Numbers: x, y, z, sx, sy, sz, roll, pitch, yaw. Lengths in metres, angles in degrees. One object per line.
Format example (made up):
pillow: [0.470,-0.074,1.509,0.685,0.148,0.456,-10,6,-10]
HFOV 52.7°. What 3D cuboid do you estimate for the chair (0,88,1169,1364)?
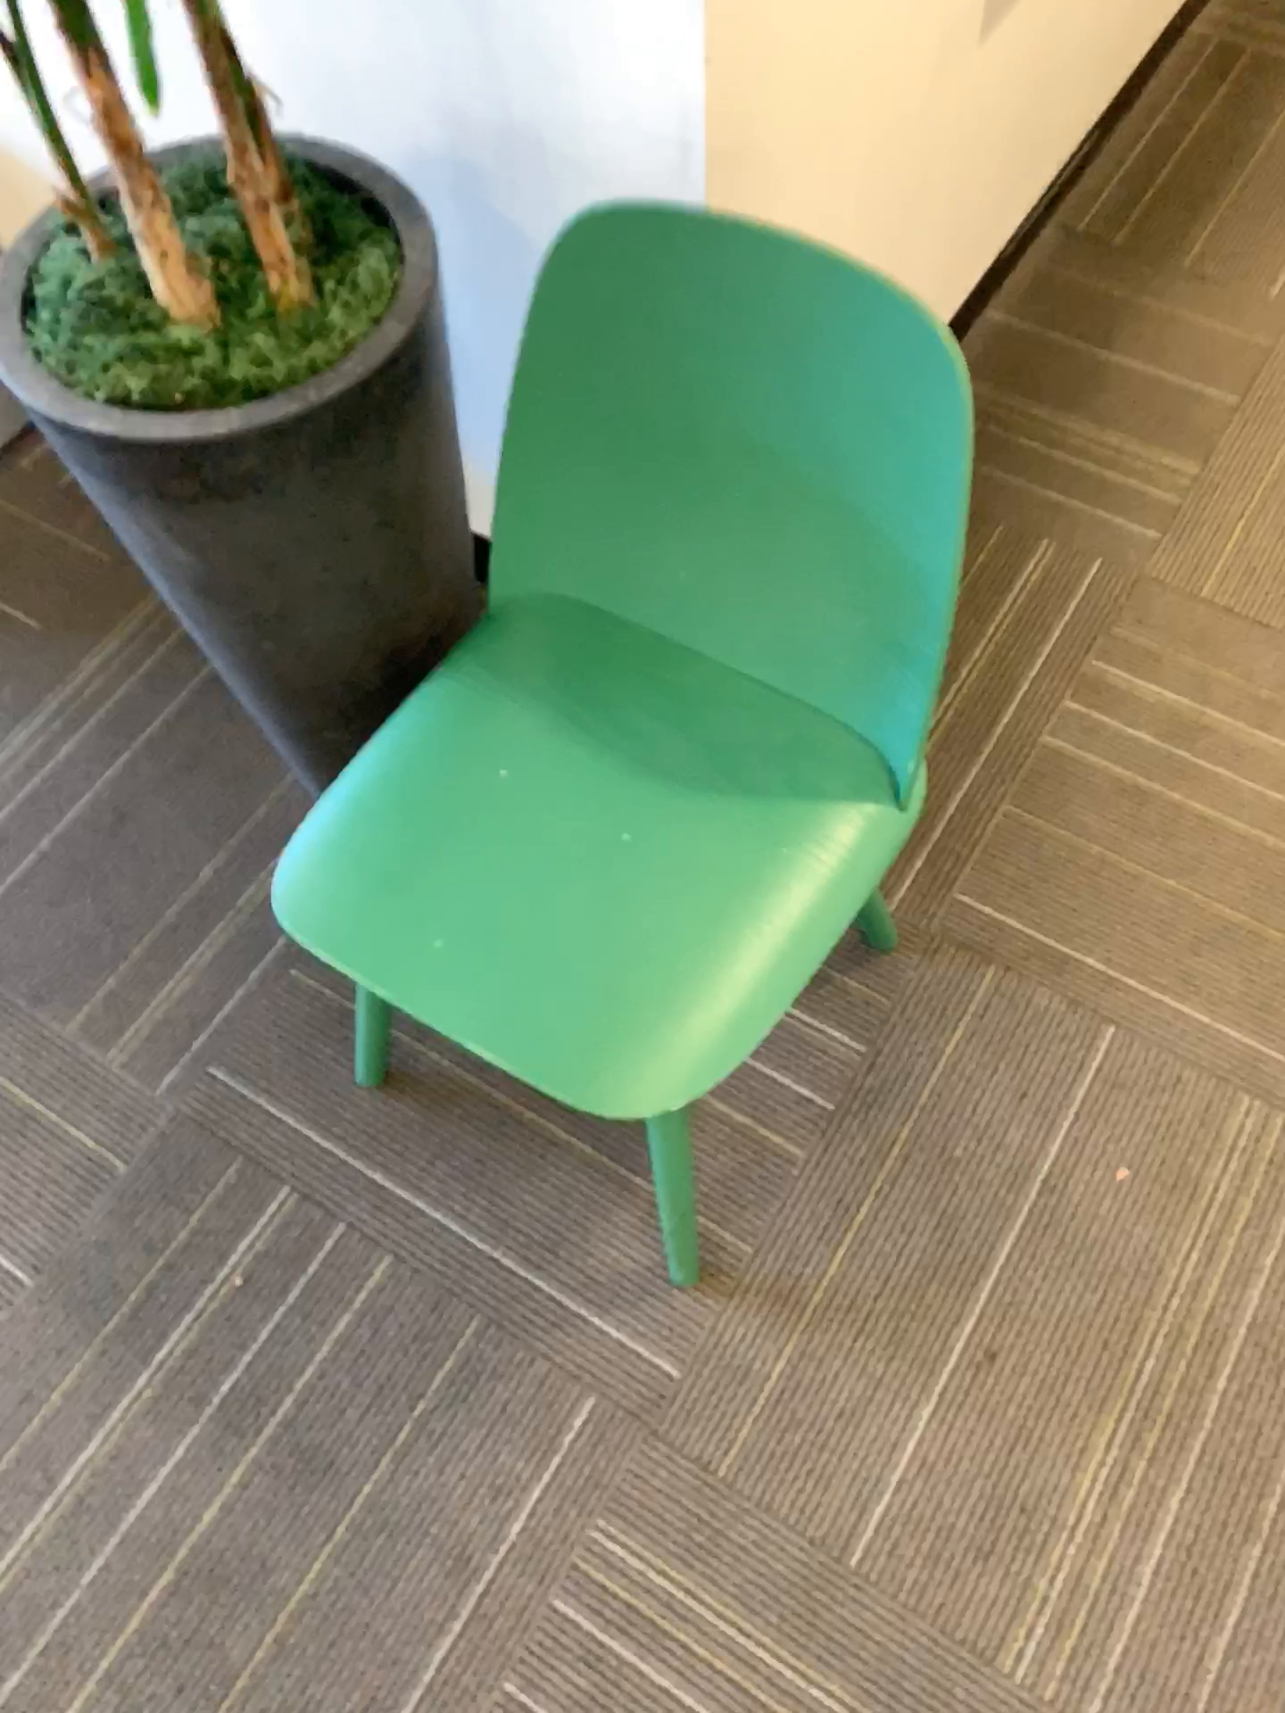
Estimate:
chair: [-0.030,-0.042,1.082,0.501,0.748,0.601,28,66,17]
